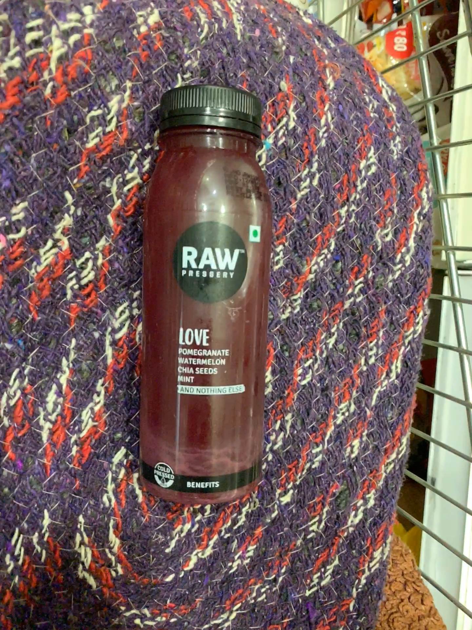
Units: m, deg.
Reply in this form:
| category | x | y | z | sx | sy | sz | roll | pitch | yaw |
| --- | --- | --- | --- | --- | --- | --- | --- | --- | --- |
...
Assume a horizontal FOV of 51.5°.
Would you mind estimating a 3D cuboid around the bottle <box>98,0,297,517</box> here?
| category | x | y | z | sx | sy | sz | roll | pitch | yaw |
| --- | --- | --- | --- | --- | --- | --- | --- | --- | --- |
| bottle | -0.017 | -0.021 | 0.185 | 0.060 | 0.060 | 0.170 | 1 | 95 | -8 |
